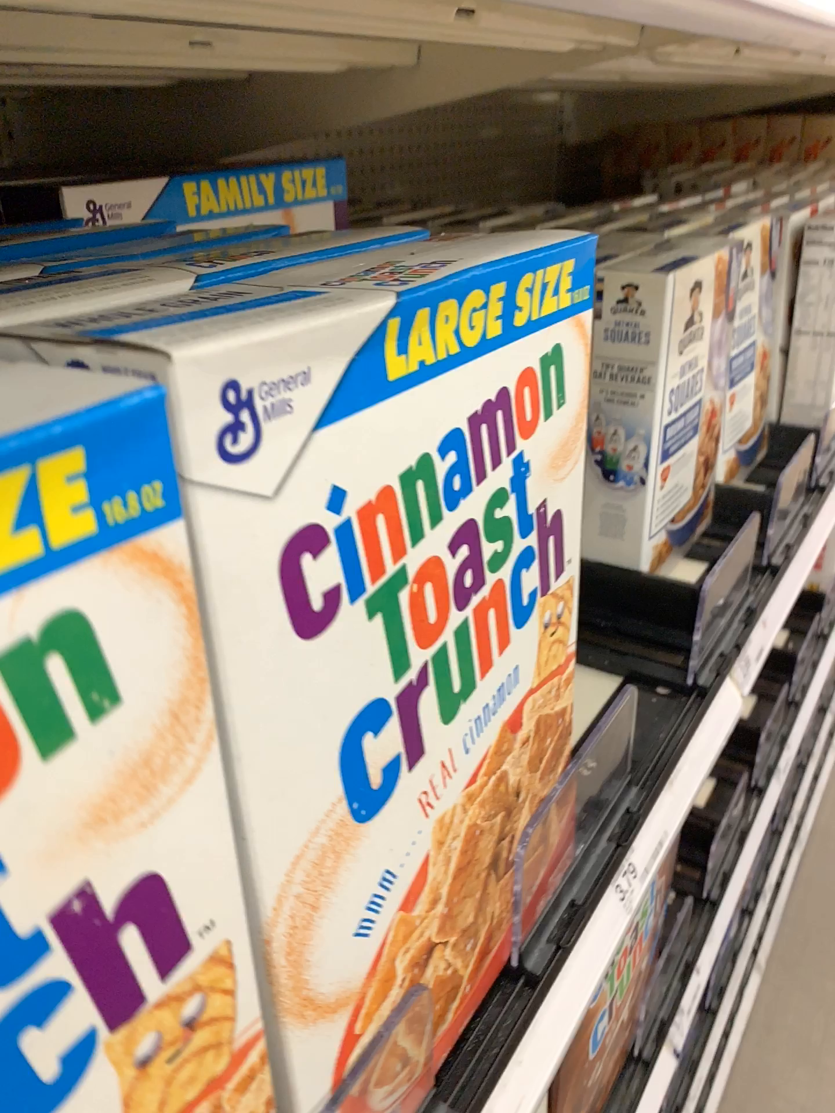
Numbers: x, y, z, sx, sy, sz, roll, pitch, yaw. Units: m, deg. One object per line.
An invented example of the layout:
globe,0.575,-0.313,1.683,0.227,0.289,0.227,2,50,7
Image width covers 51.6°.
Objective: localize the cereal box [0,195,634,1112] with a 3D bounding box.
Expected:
cereal box,-0.005,0.043,0.289,0.070,0.289,0.191,14,31,30
